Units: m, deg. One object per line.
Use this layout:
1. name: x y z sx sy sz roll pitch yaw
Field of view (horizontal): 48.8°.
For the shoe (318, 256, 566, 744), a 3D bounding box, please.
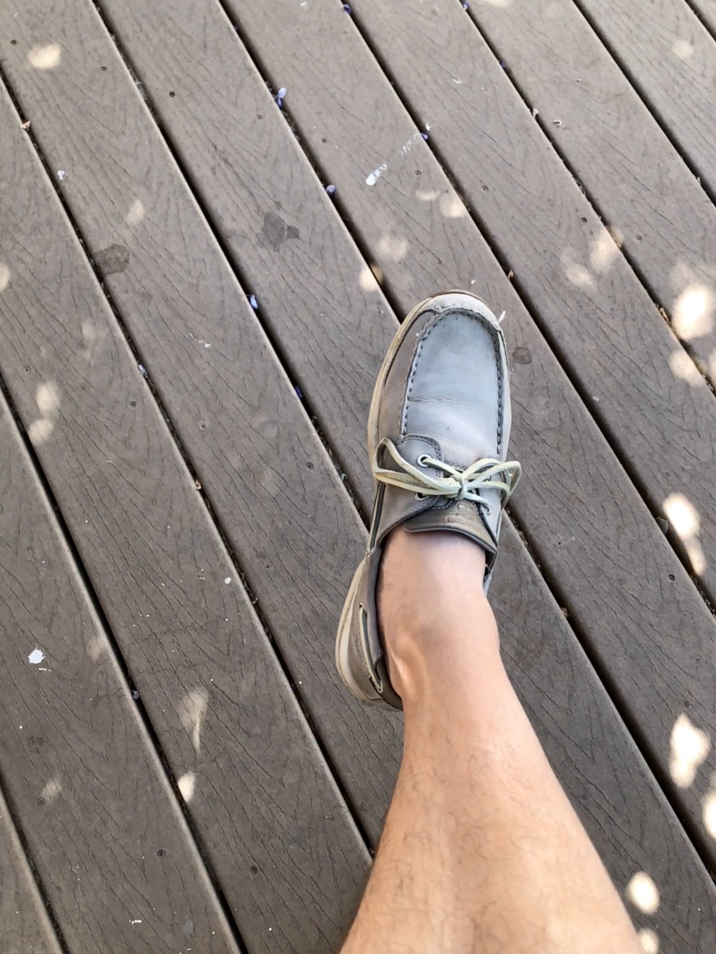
1. shoe: 0.056 0.015 0.561 0.115 0.085 0.306 10 86 0
